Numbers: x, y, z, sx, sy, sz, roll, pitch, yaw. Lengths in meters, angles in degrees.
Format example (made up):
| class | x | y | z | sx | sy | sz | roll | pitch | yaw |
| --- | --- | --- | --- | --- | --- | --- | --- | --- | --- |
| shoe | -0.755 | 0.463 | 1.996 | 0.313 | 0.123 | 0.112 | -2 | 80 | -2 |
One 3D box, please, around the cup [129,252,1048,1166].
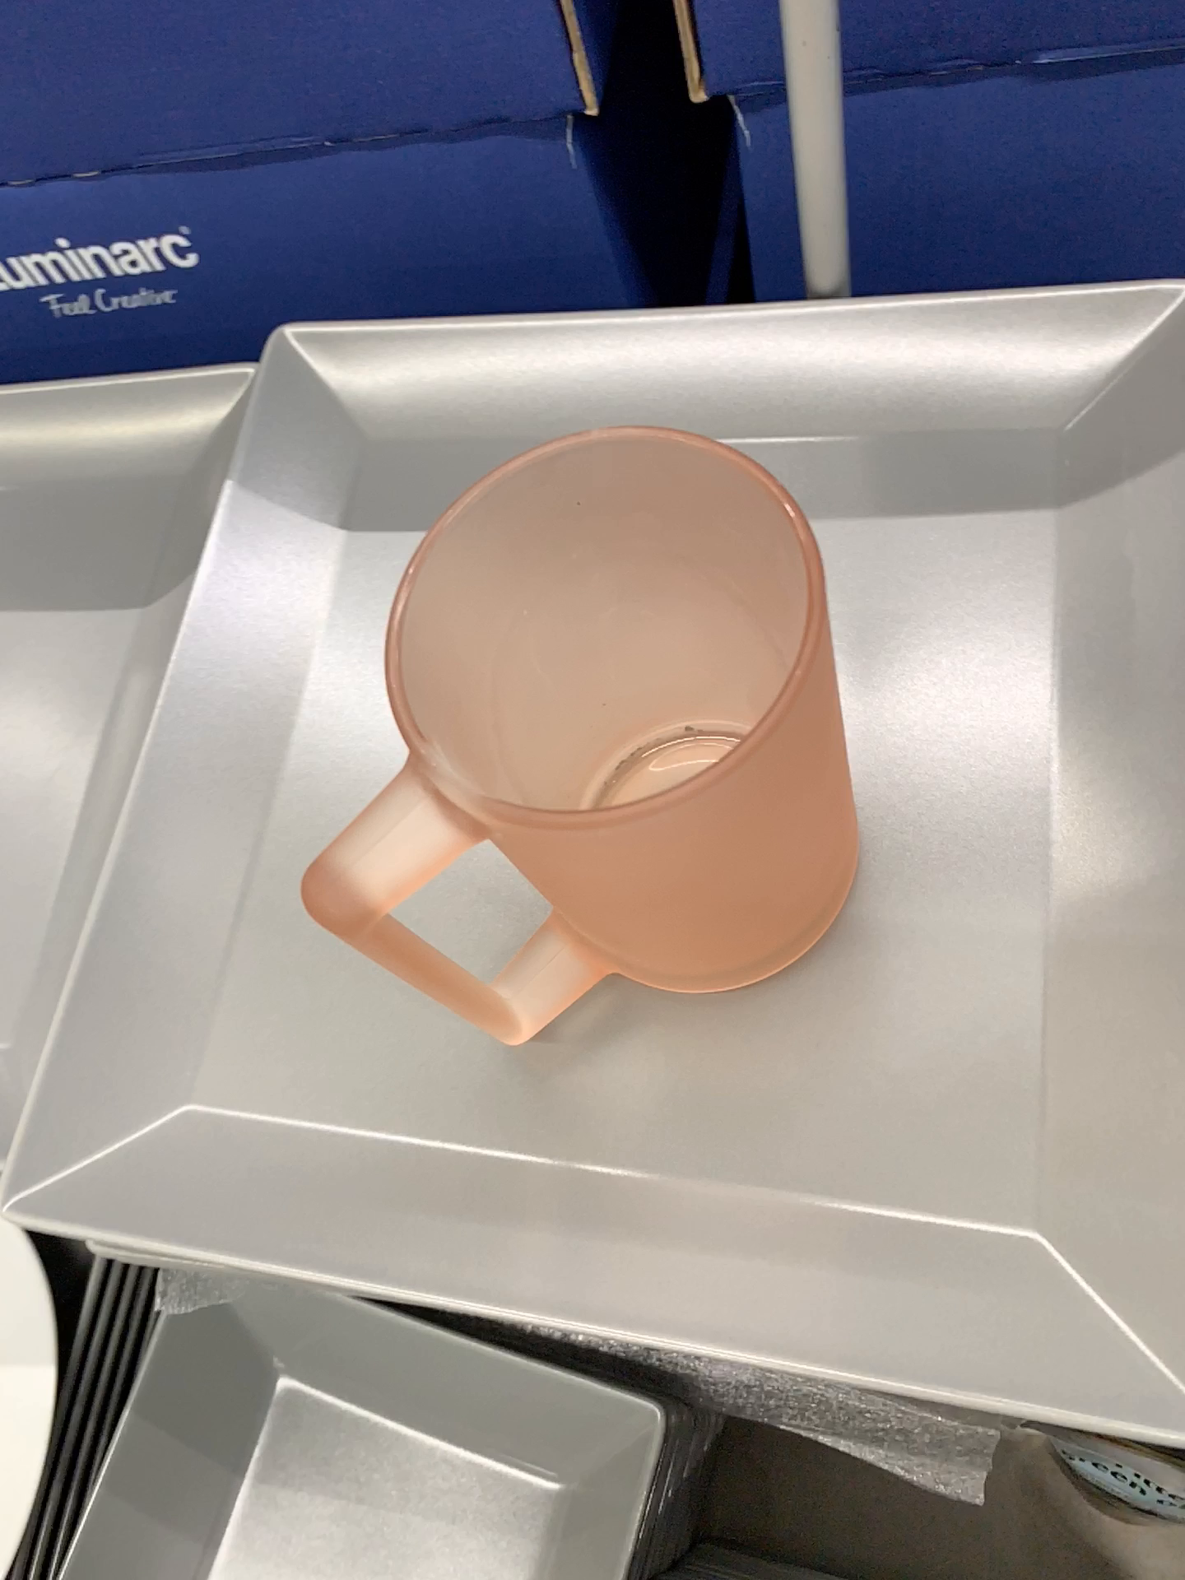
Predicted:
| class | x | y | z | sx | sy | sz | roll | pitch | yaw |
| --- | --- | --- | --- | --- | --- | --- | --- | --- | --- |
| cup | 0.004 | -0.011 | 0.239 | 0.120 | 0.095 | 0.095 | -38 | 62 | -5 |
